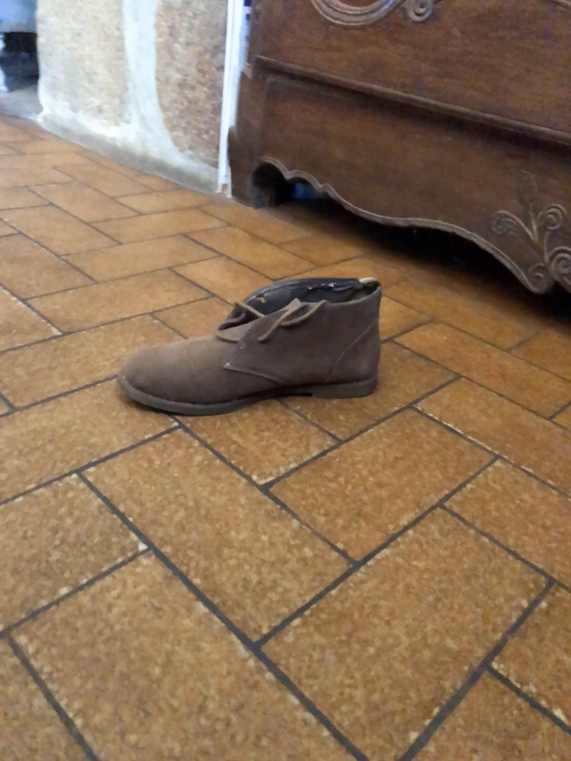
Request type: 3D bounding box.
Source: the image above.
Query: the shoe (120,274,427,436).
[{"bbox_3d":[-0.016,-0.030,0.571,0.251,0.099,0.100,-4,33,-19],"label":"shoe"}]
